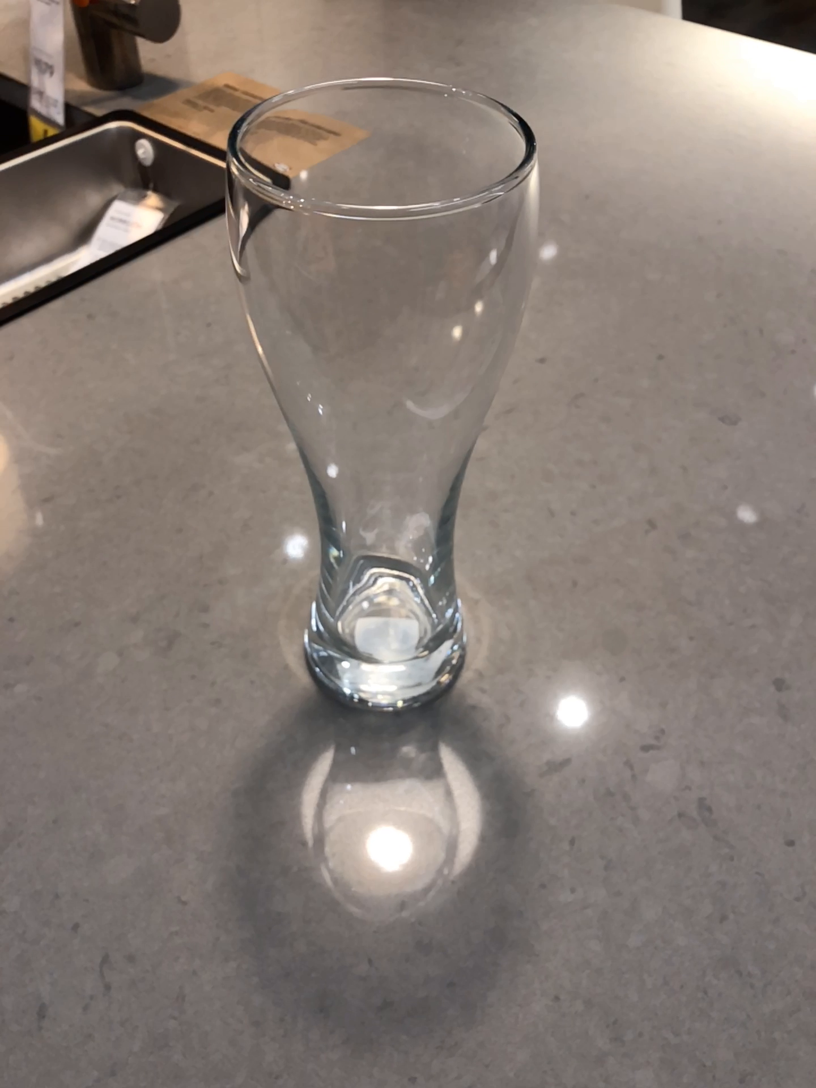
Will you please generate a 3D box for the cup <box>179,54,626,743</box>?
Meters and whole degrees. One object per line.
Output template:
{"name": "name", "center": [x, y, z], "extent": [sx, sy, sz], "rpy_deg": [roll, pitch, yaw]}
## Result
{"name": "cup", "center": [-0.006, -0.035, 0.318], "extent": [0.100, 0.219, 0.100], "rpy_deg": [1, 47, -1]}
